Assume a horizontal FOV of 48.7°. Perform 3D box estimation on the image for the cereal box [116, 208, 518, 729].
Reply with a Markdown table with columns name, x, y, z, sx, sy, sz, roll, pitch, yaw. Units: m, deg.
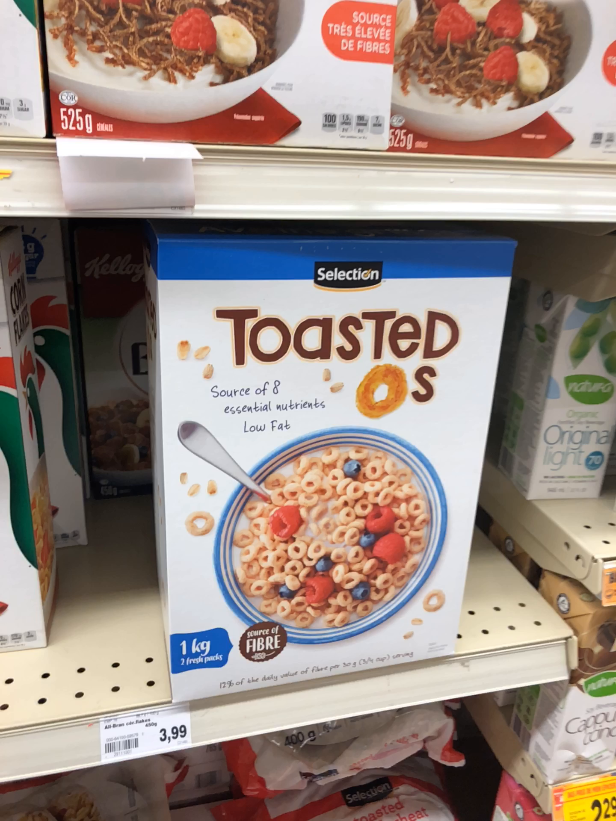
| name | x | y | z | sx | sy | sz | roll | pitch | yaw |
| --- | --- | --- | --- | --- | --- | --- | --- | --- | --- |
| cereal box | -0.011 | 0.028 | 0.524 | 0.240 | 0.338 | 0.161 | -4 | 20 | -16 |
